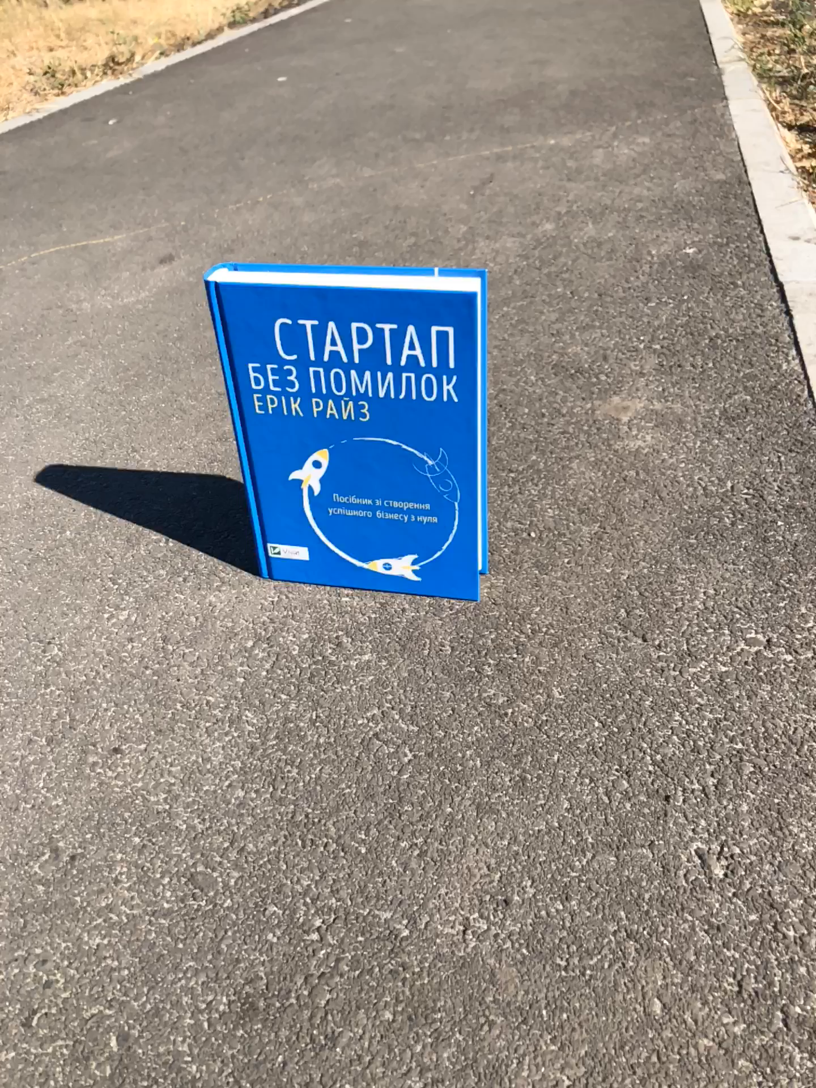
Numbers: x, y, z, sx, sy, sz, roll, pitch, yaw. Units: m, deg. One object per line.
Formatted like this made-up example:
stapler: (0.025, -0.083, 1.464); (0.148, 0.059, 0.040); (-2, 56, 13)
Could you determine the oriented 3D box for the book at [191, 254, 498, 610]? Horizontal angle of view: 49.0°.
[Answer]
book: (-0.028, -0.061, 0.526); (0.154, 0.204, 0.039); (5, 35, 13)
